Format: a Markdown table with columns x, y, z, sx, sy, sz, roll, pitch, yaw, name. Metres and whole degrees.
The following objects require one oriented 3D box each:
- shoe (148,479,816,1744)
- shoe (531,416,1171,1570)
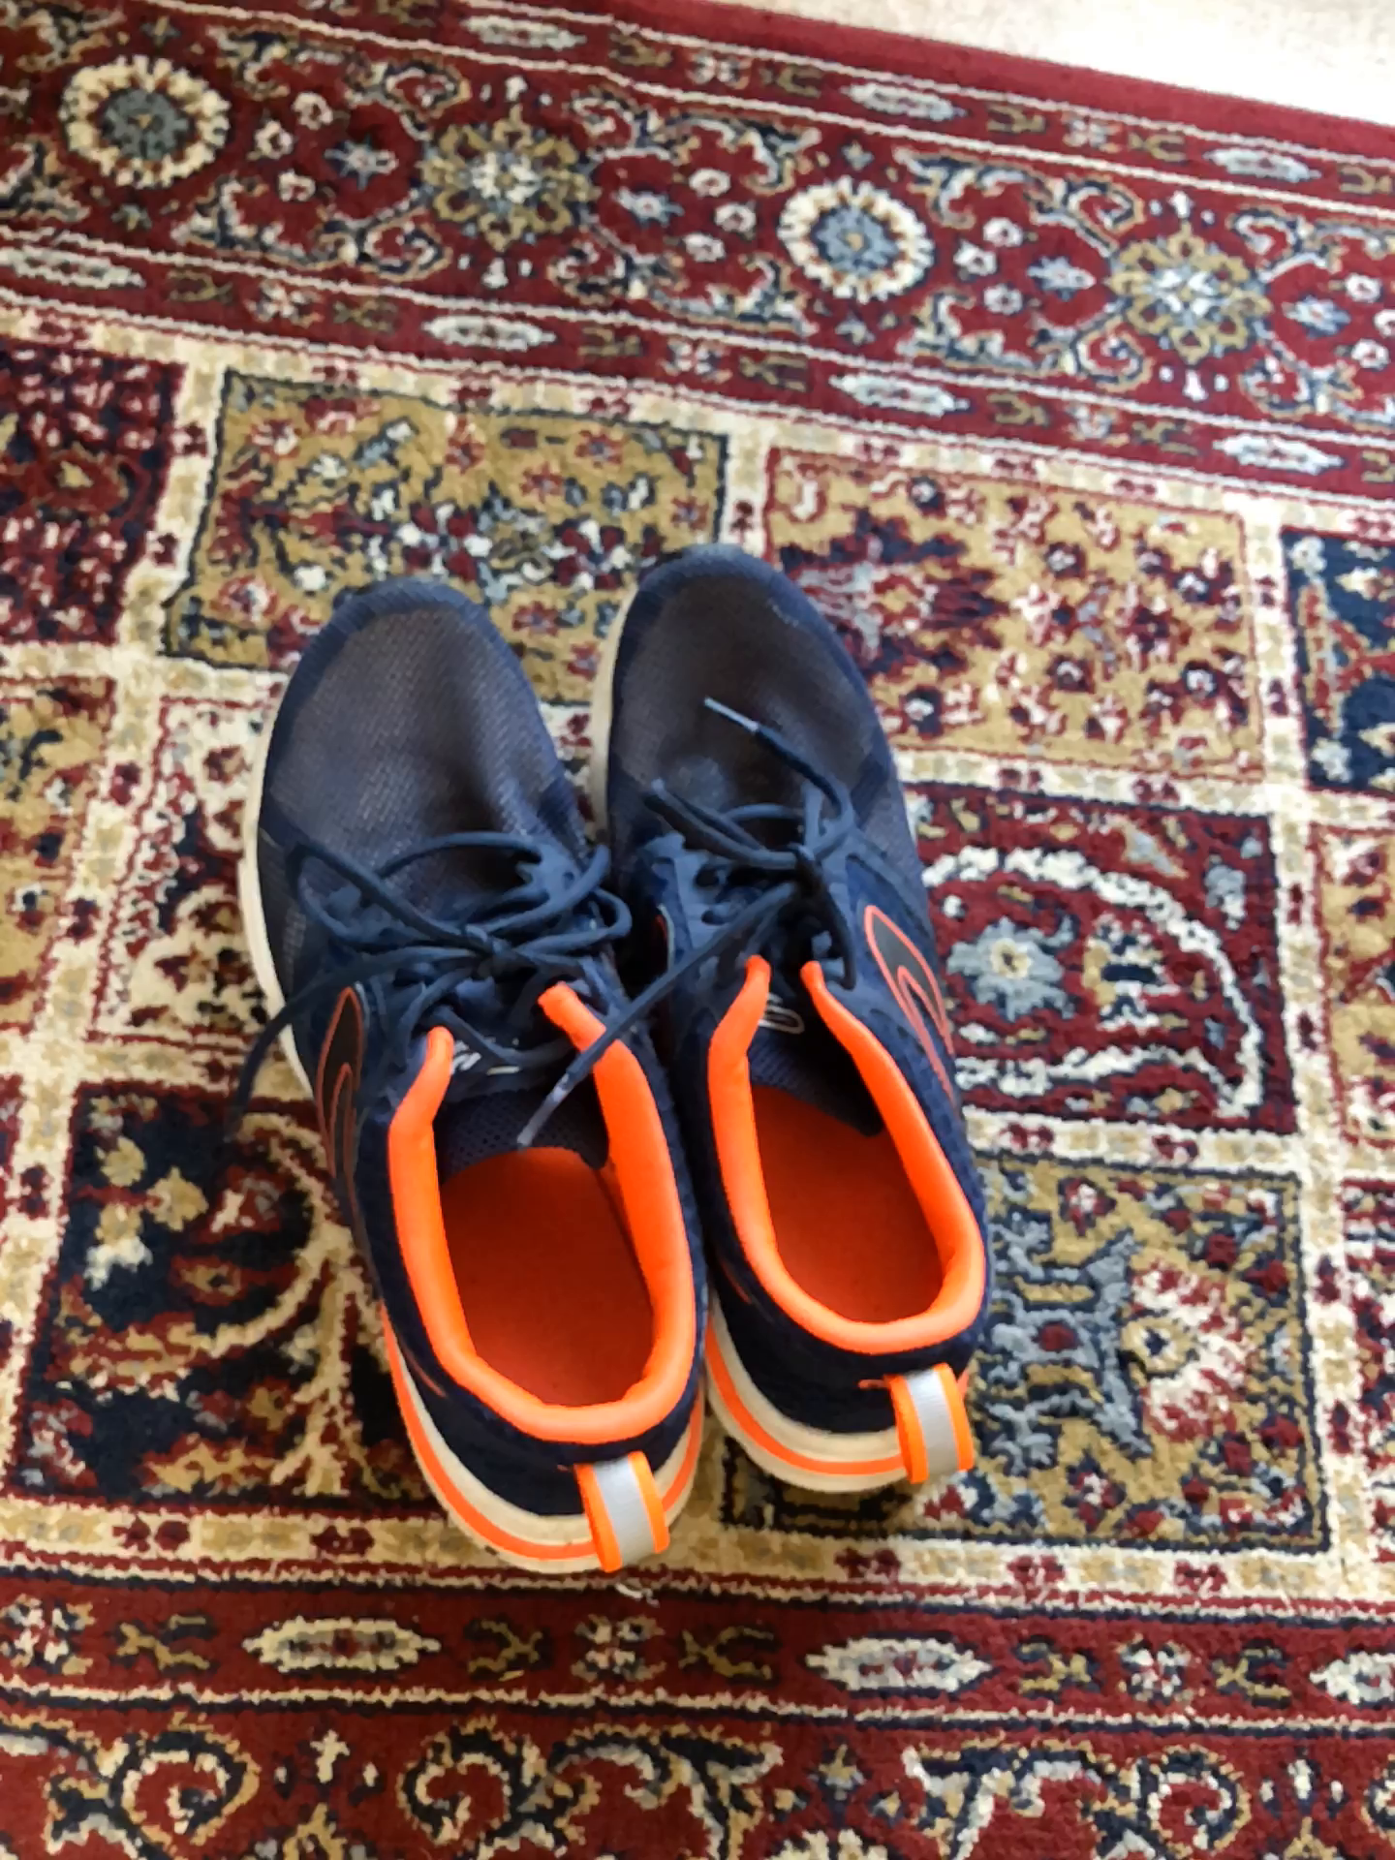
| x | y | z | sx | sy | sz | roll | pitch | yaw | name |
| --- | --- | --- | --- | --- | --- | --- | --- | --- | --- |
| -0.074 | 0.045 | 0.481 | 0.120 | 0.130 | 0.331 | -10 | 72 | -11 | shoe |
| 0.028 | 0.016 | 0.502 | 0.120 | 0.130 | 0.331 | -6 | 71 | -9 | shoe |
